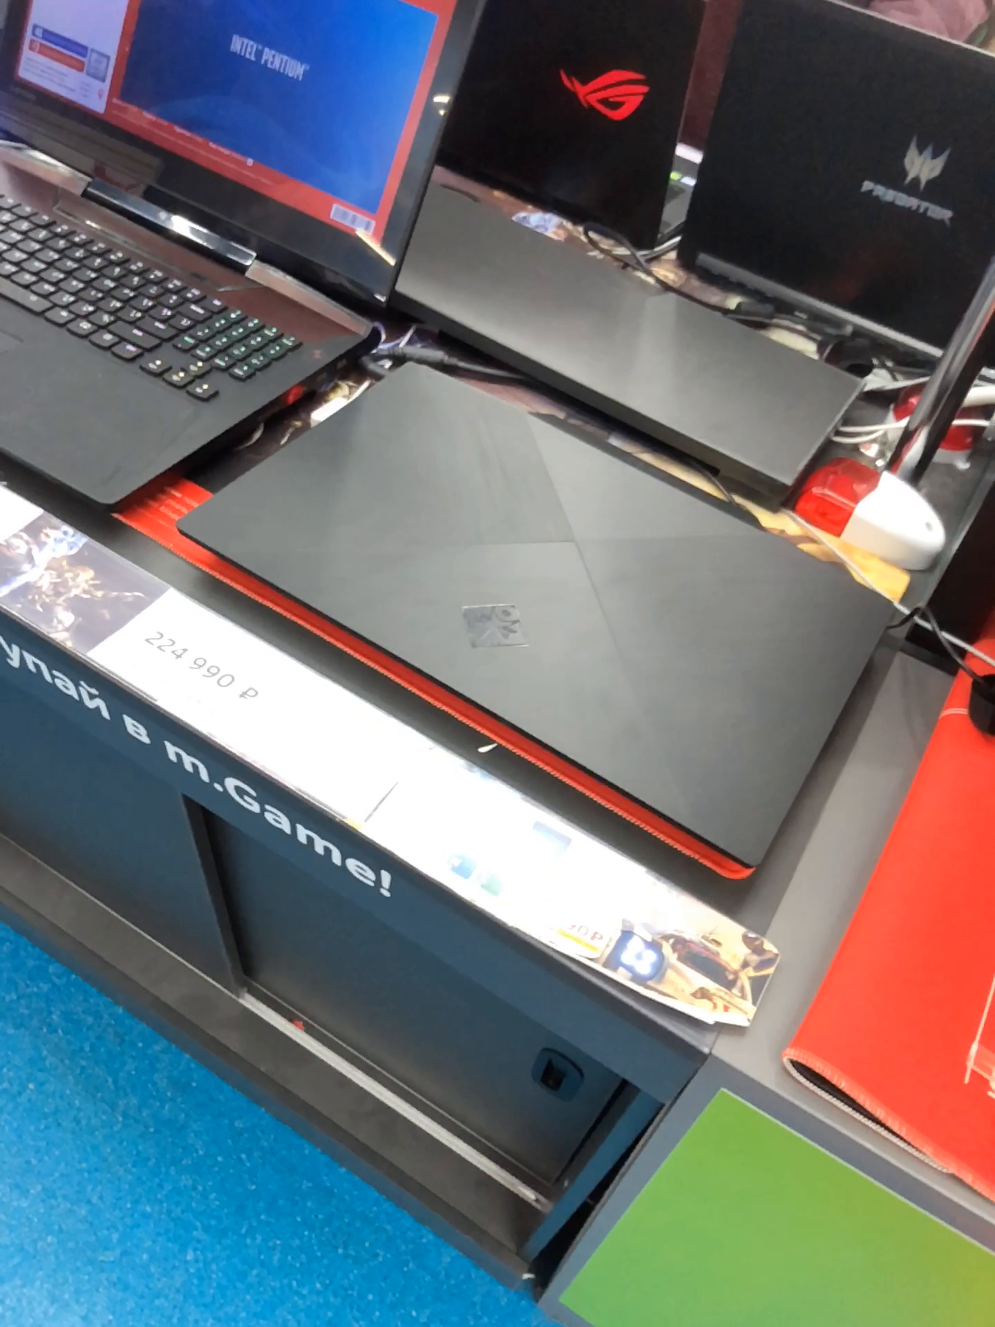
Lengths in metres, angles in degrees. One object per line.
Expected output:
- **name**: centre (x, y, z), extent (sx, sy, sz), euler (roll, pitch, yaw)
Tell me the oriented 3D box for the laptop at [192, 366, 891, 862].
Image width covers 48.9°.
- **laptop**: centre (0.040, -0.064, 0.723), extent (0.398, 0.002, 0.262), euler (30, 47, 15)
